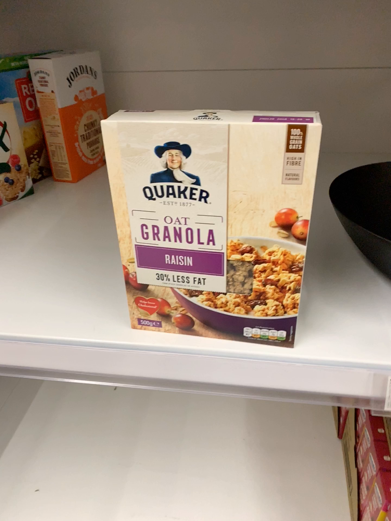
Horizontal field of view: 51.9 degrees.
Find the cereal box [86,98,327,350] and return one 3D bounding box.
[{"bbox_3d":[0.014,-0.032,0.418,0.200,0.248,0.061,4,32,11],"label":"cereal box"}]
